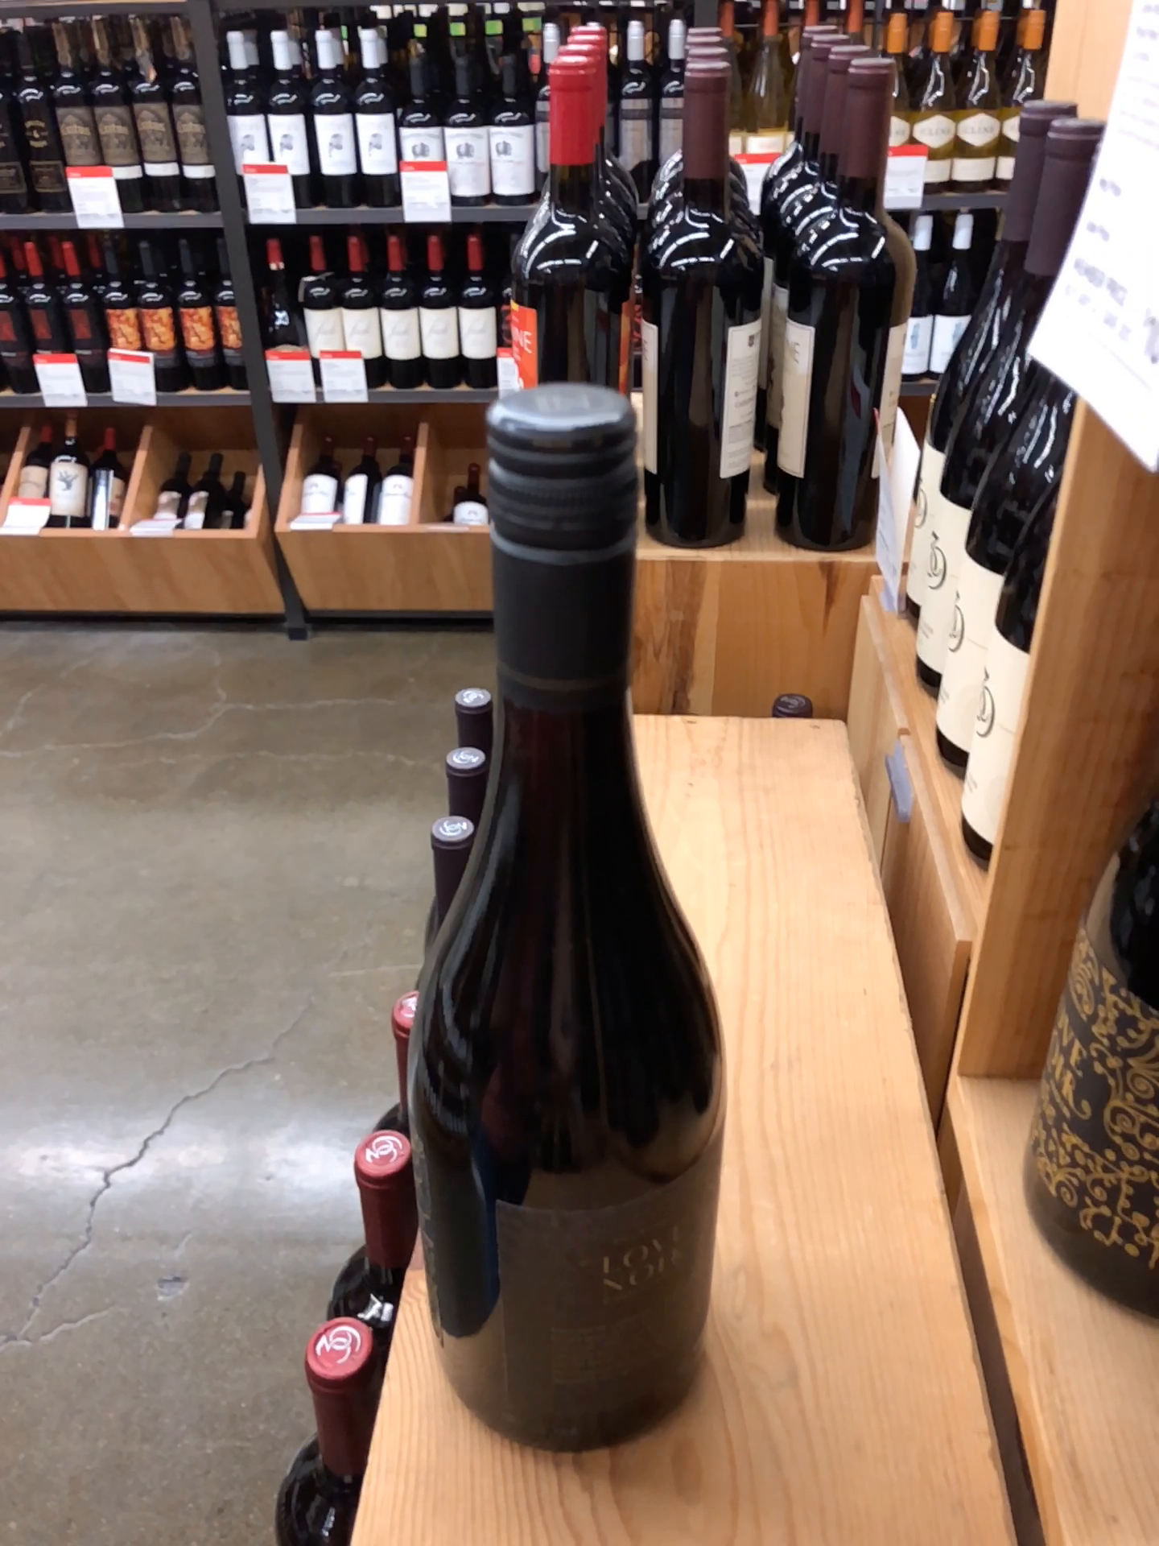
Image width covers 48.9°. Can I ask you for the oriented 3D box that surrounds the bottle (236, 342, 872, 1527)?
[{"bbox_3d":[-0.002,0.052,0.325,0.090,0.285,0.086,-1,32,1],"label":"bottle"}]
